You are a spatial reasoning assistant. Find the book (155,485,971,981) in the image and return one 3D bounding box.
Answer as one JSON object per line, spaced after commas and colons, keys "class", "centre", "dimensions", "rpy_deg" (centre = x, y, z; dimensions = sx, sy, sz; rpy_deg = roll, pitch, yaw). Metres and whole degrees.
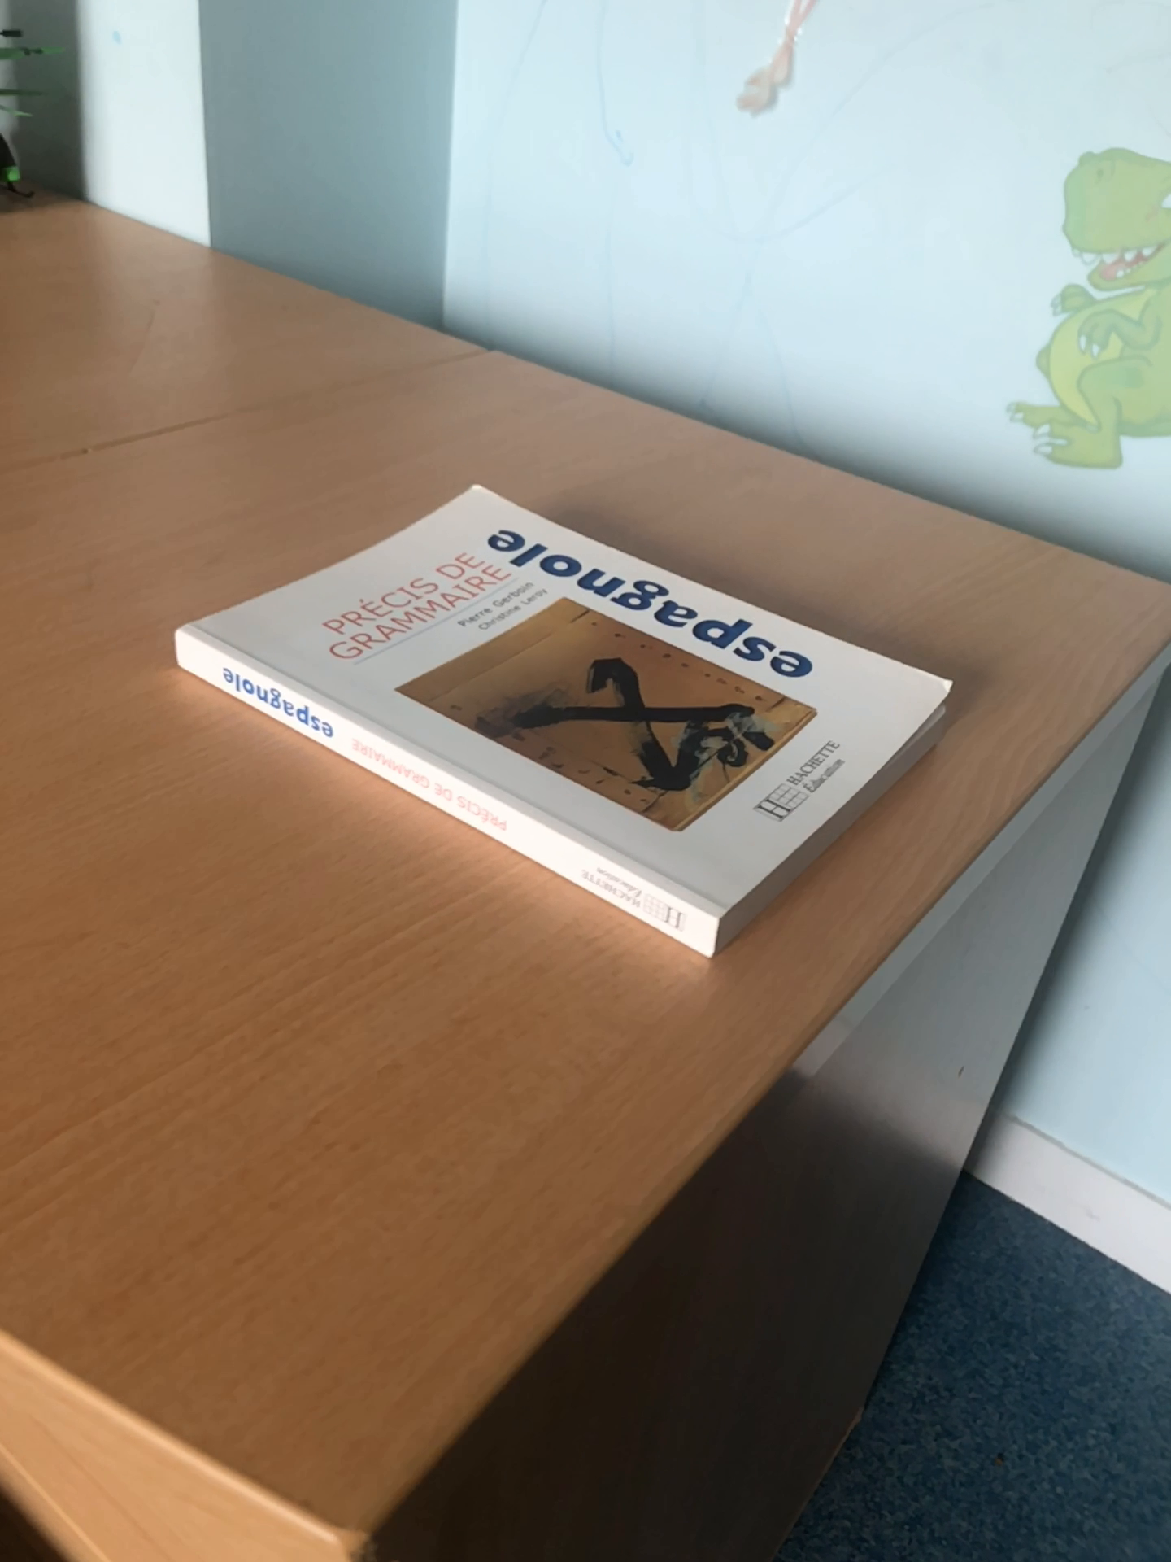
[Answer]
{"class": "book", "centre": [-0.006, -0.039, 0.480], "dimensions": [0.240, 0.020, 0.181], "rpy_deg": [27, 41, 26]}
